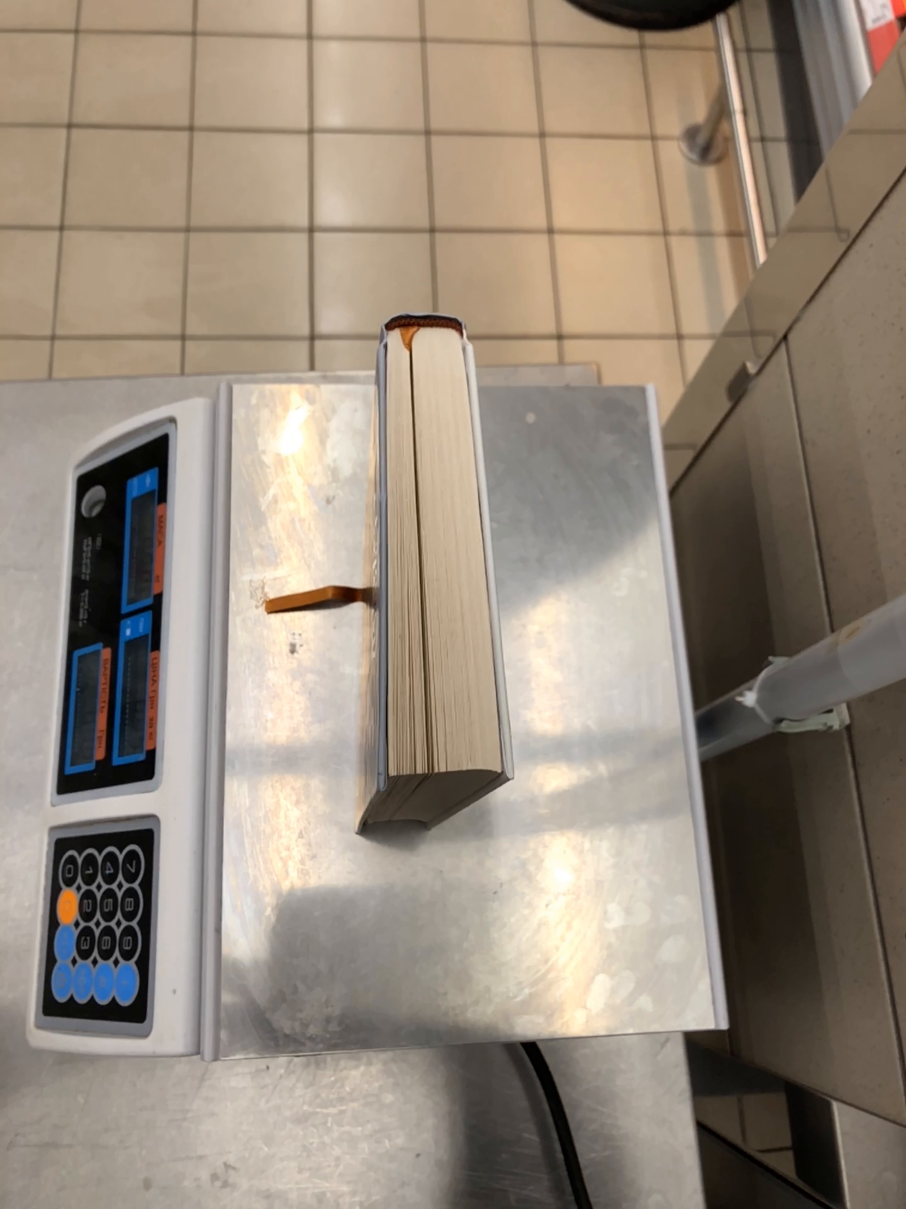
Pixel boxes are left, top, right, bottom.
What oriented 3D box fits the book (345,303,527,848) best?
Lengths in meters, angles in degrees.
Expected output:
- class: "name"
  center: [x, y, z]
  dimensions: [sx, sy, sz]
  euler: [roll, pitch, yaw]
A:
- class: "book"
  center: [-0.015, 0.008, 0.350]
  dimensions: [0.037, 0.187, 0.137]
  euler: [-1, 73, -8]
